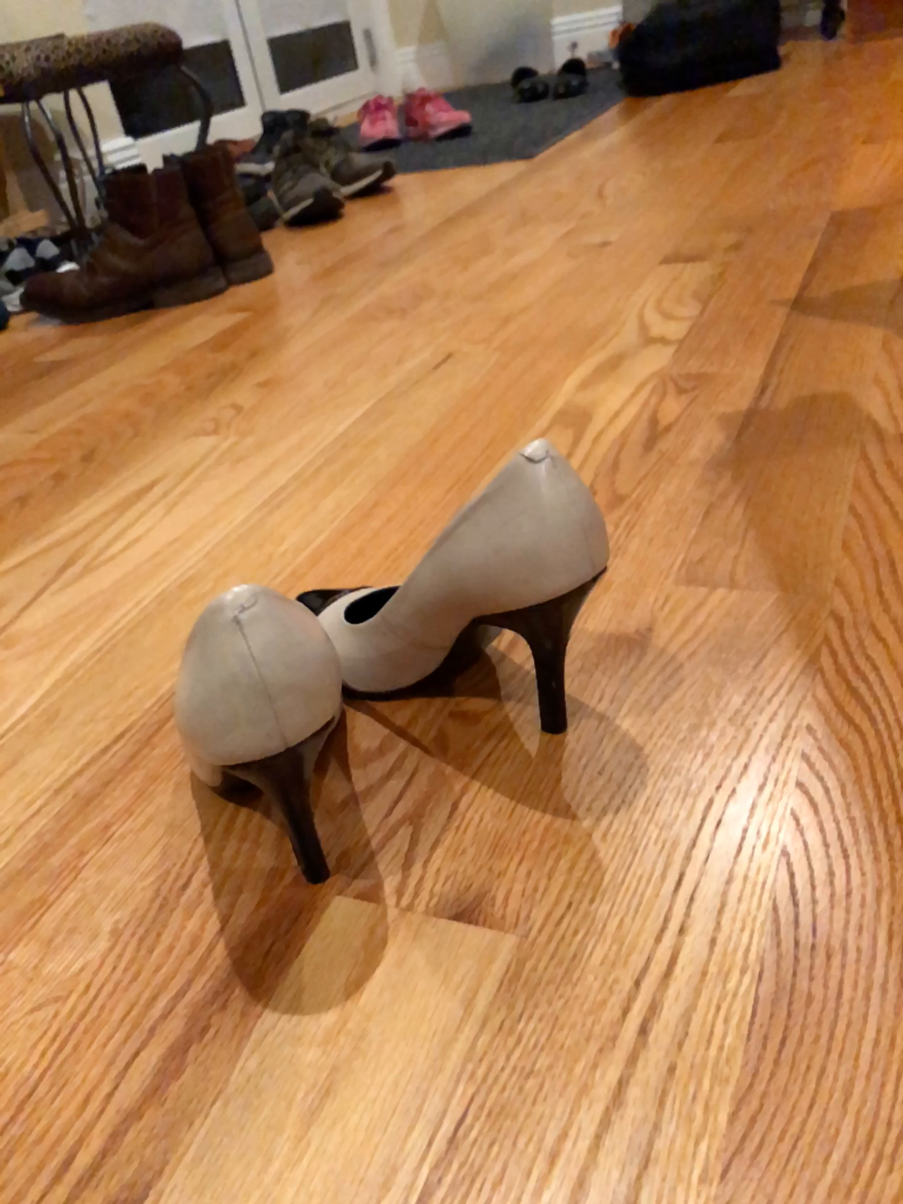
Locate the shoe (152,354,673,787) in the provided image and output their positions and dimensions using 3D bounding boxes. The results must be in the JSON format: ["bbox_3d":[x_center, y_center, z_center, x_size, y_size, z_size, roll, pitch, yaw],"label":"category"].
[{"bbox_3d":[-0.023,-0.029,0.484,0.236,0.138,0.085,18,41,40],"label":"shoe"}]

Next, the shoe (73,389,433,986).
[{"bbox_3d":[-0.097,0.016,0.435,0.085,0.138,0.236,-18,31,-11],"label":"shoe"}]
